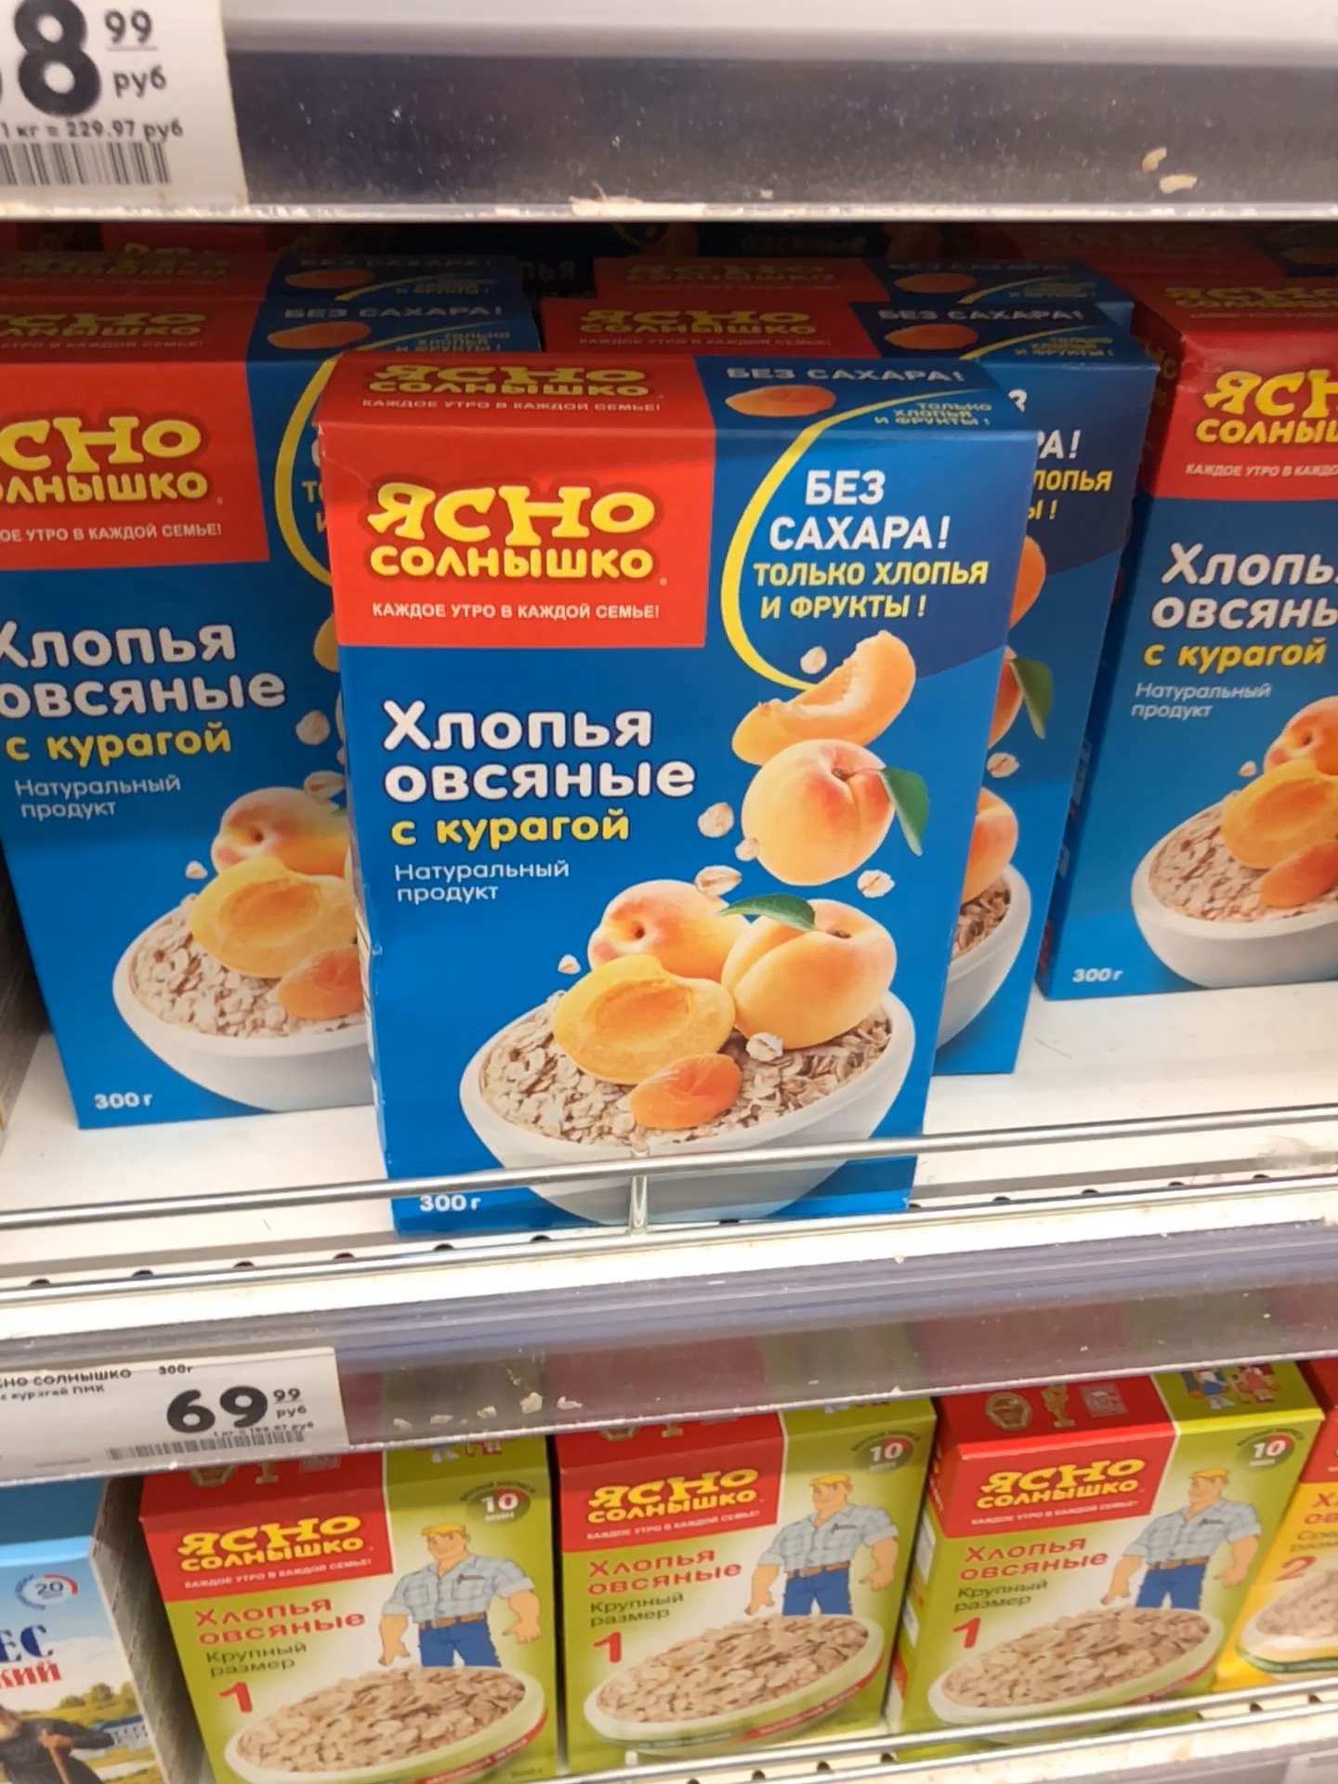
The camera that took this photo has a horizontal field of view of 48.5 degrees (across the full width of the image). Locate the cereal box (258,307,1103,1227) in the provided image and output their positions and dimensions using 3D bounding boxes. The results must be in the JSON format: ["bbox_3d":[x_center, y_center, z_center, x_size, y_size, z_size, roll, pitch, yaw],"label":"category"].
[{"bbox_3d":[-0.001,-0.019,0.342,0.150,0.209,0.050,-2,34,-5],"label":"cereal box"}]
